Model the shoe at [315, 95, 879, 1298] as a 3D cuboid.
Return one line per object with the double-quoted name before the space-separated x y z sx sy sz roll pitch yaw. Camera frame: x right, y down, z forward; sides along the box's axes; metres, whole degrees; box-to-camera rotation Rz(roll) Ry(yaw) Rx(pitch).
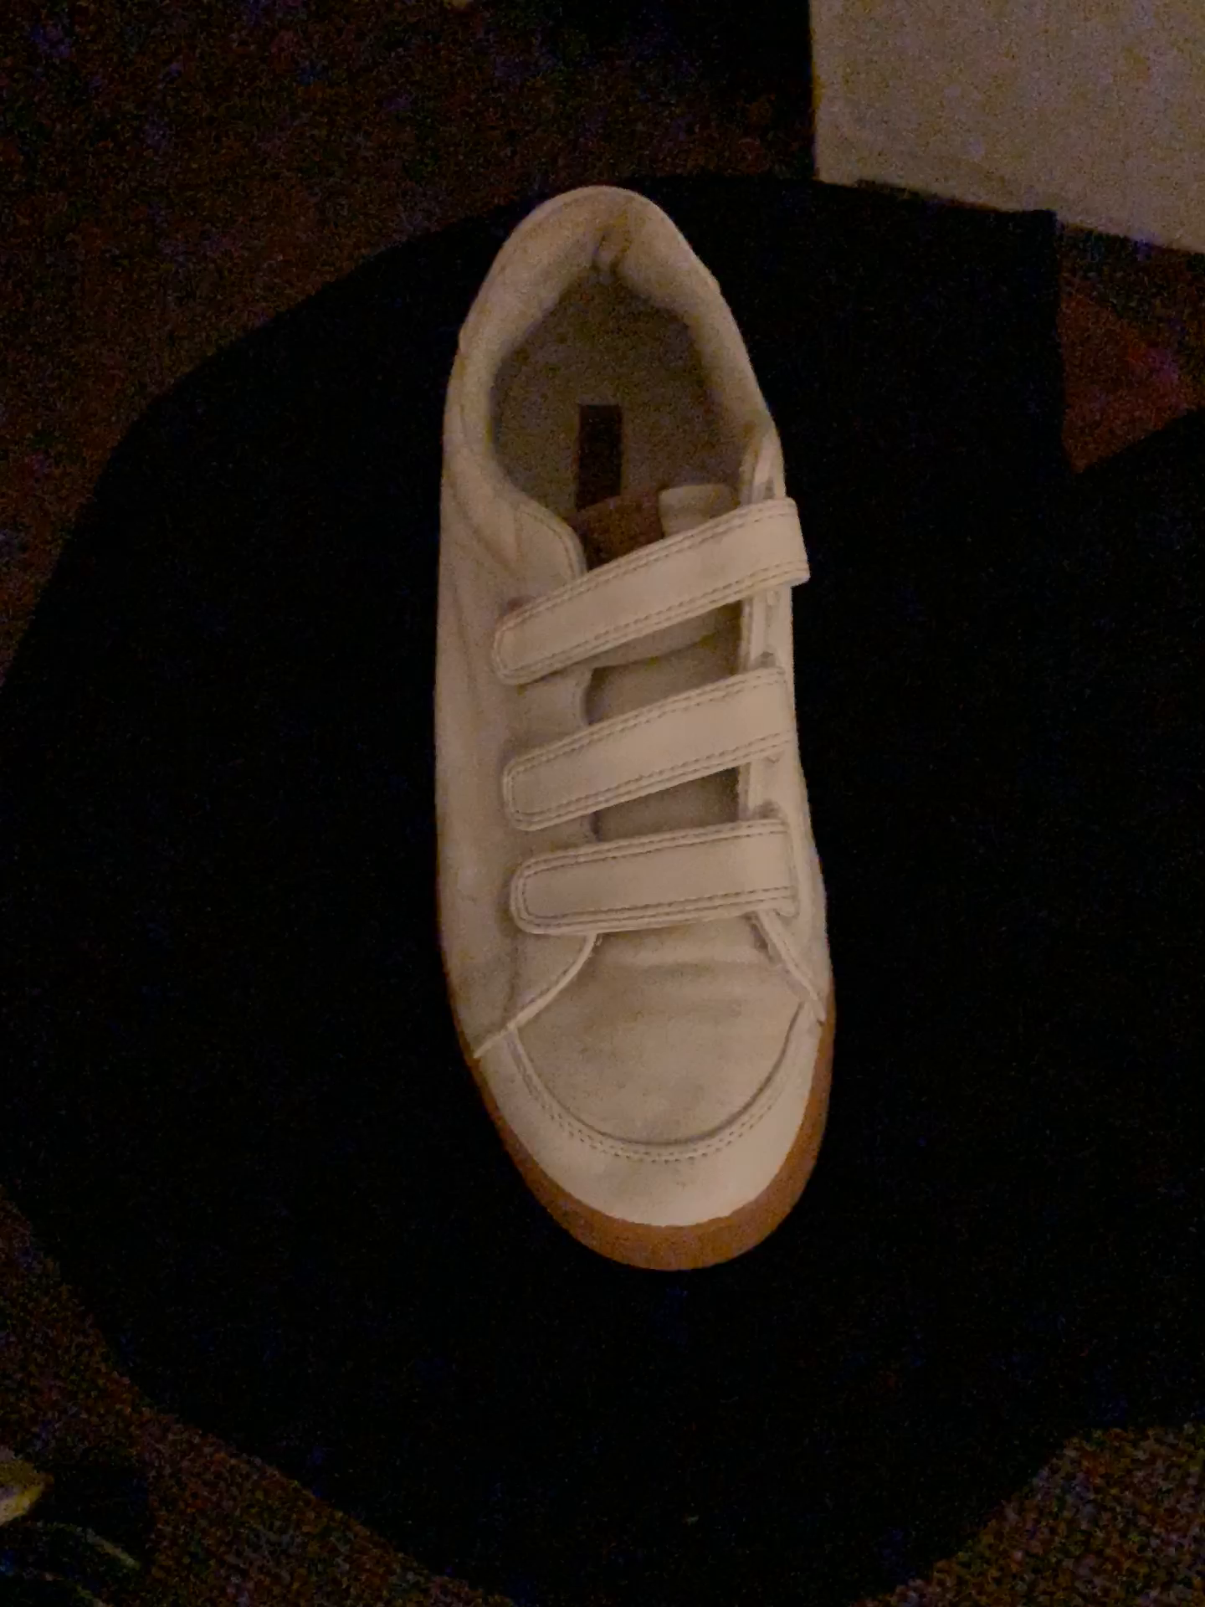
"shoe" -0.004 -0.026 0.296 0.096 0.080 0.255 -9 72 9
